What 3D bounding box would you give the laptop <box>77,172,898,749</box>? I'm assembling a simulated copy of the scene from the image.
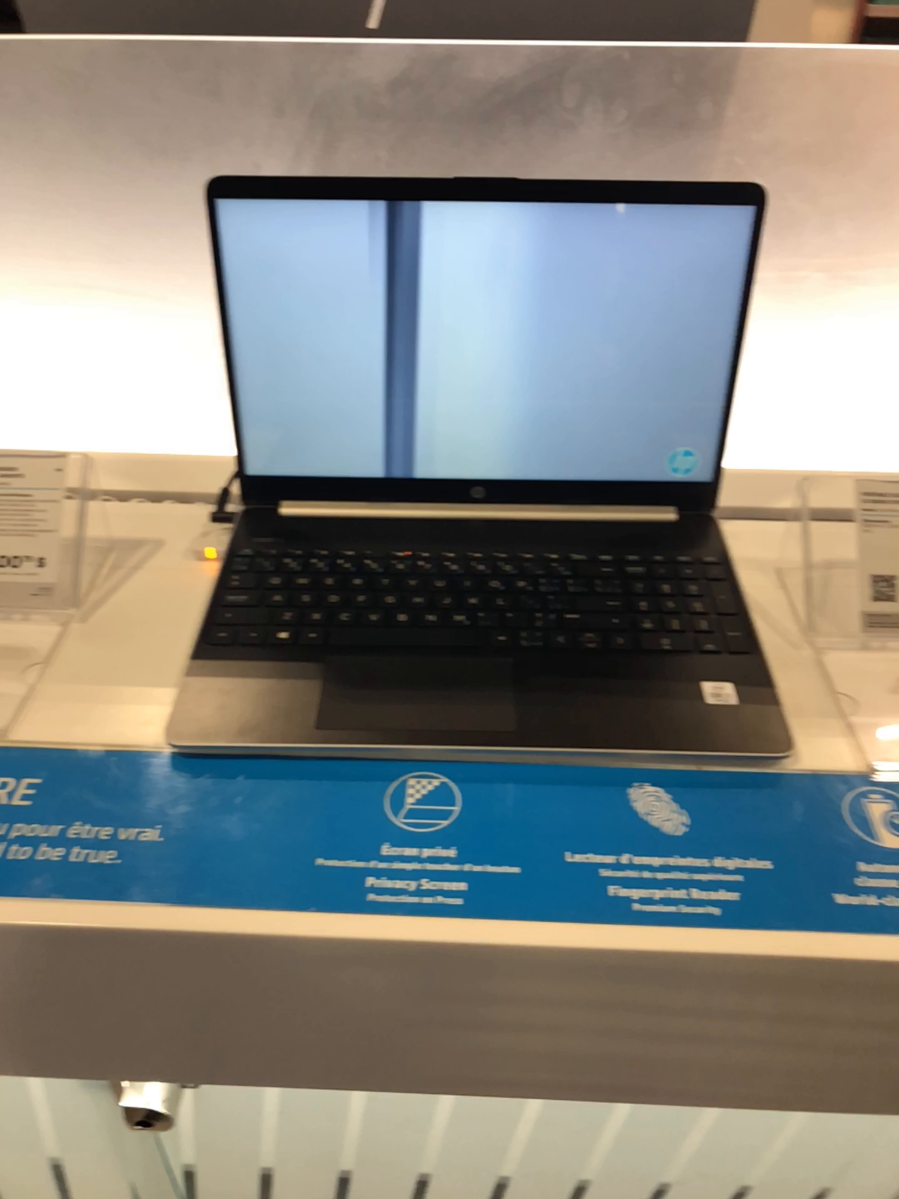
[{"bbox_3d":[0.021,-0.097,0.602,0.355,0.221,0.284,1,39,1],"label":"laptop"}]
